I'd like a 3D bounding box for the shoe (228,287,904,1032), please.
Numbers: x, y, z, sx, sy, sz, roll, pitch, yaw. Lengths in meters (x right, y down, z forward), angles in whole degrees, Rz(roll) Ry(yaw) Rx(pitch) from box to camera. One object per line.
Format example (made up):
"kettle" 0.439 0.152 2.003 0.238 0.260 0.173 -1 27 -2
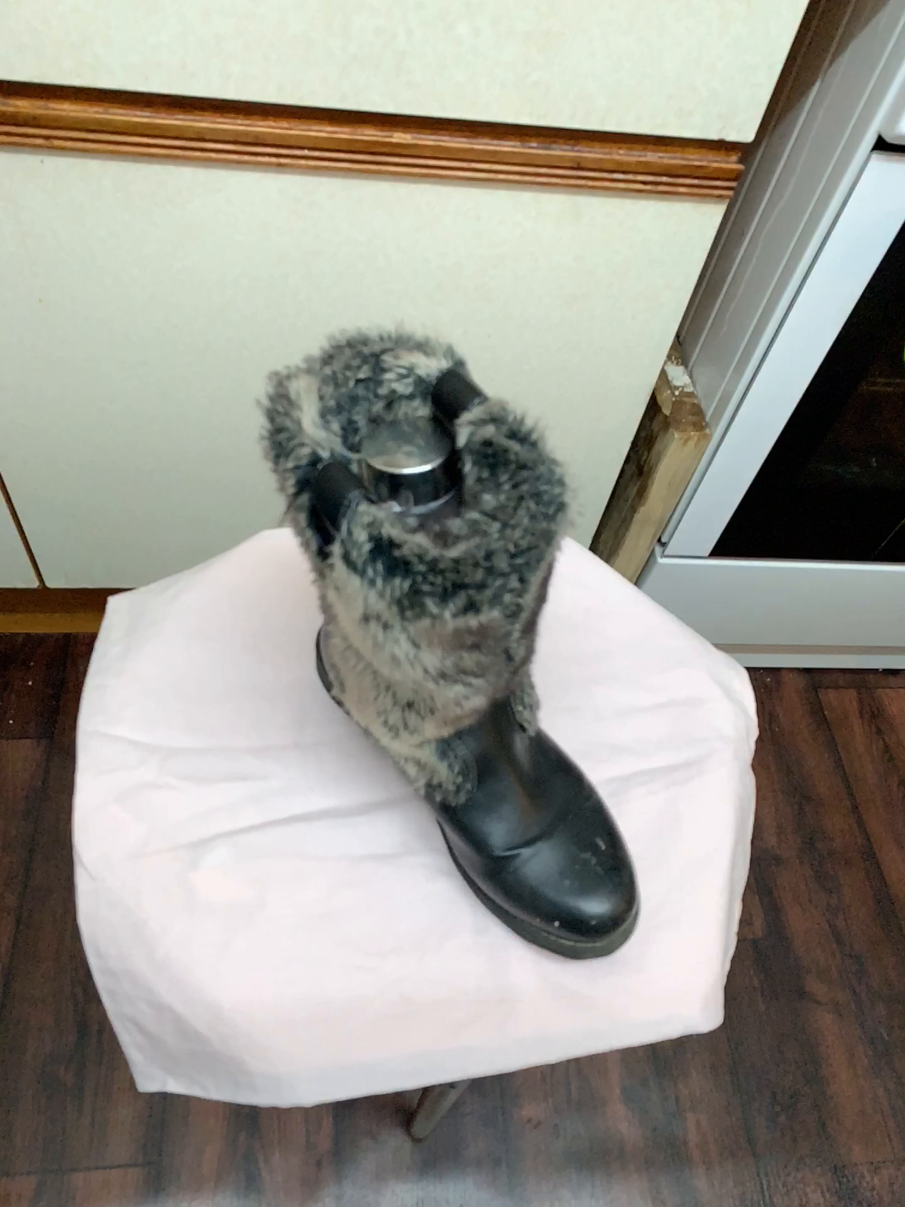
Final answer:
"shoe" 0.024 0.035 0.457 0.121 0.238 0.271 -33 66 -27
